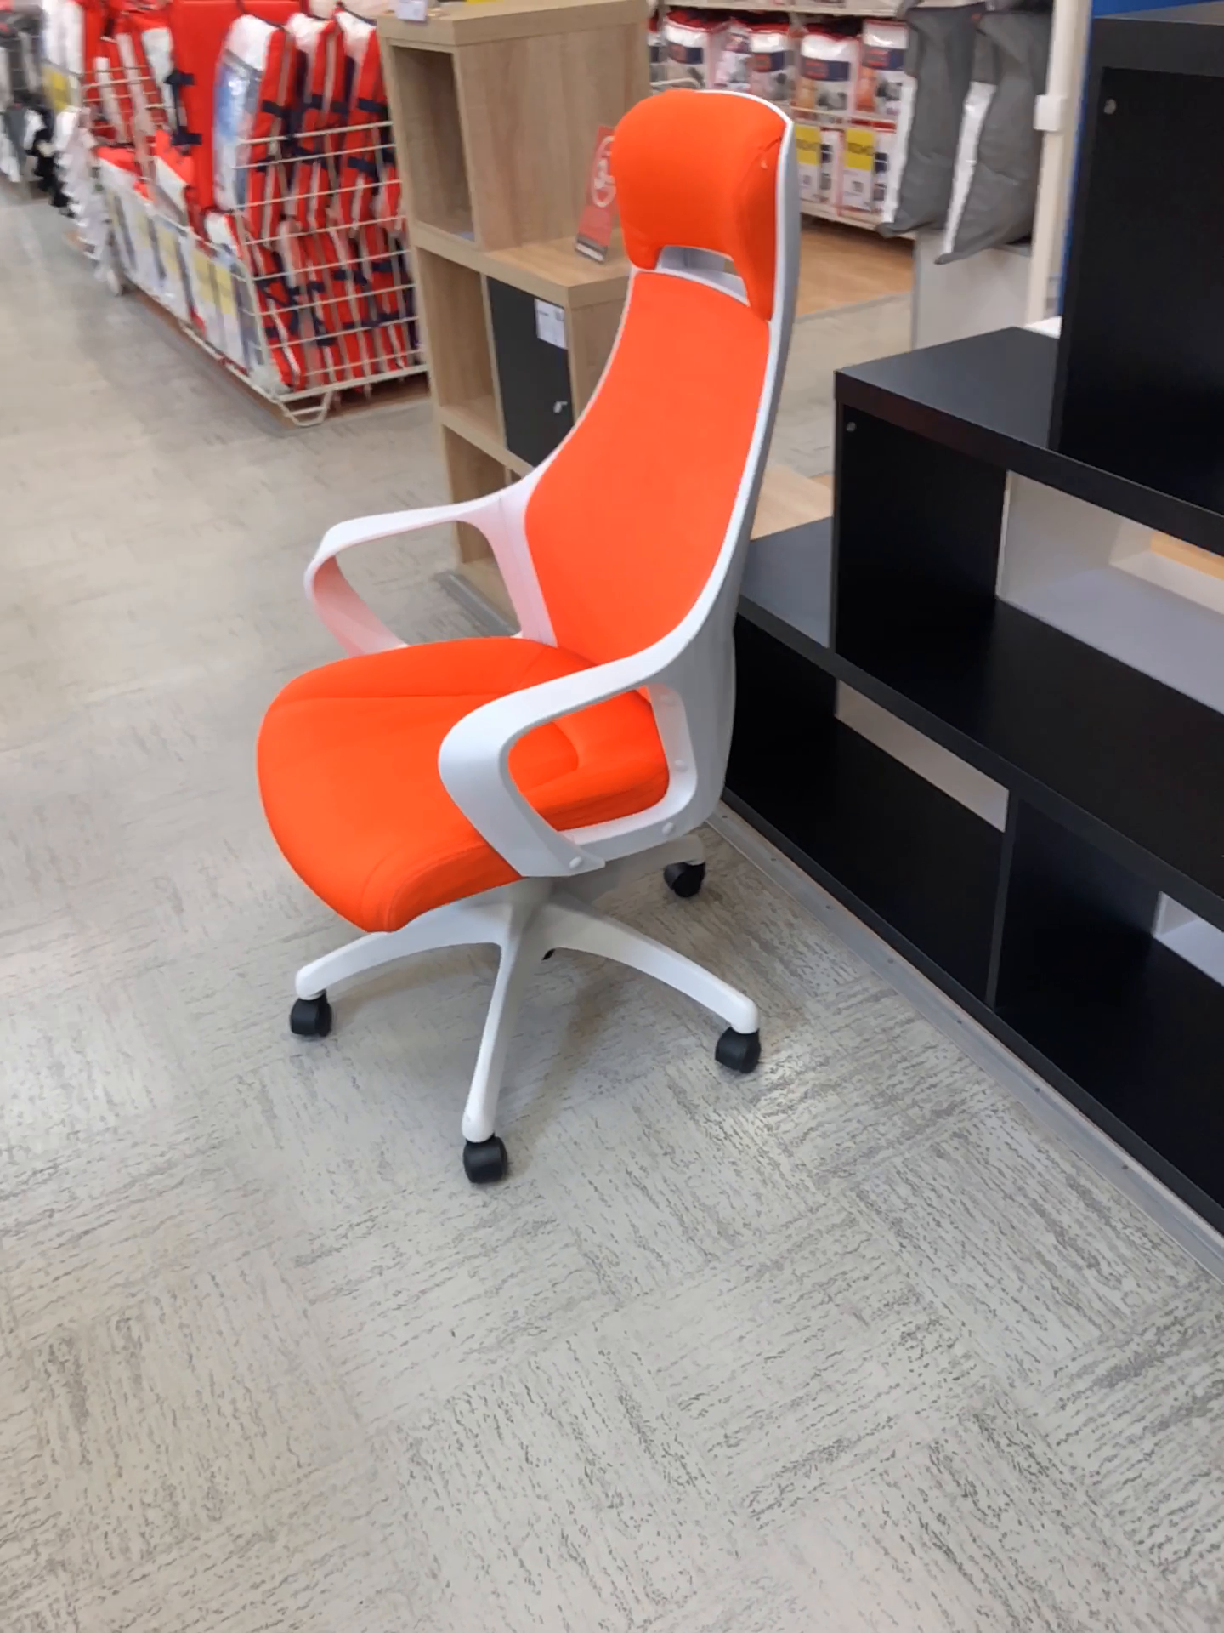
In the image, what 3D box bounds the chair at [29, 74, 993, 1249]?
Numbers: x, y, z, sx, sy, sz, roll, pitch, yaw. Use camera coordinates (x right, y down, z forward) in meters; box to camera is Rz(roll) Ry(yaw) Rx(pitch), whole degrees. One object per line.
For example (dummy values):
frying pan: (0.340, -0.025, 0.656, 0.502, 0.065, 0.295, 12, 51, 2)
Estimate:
chair: (-0.114, -0.226, 1.591, 0.752, 1.054, 0.682, -17, 35, -18)
